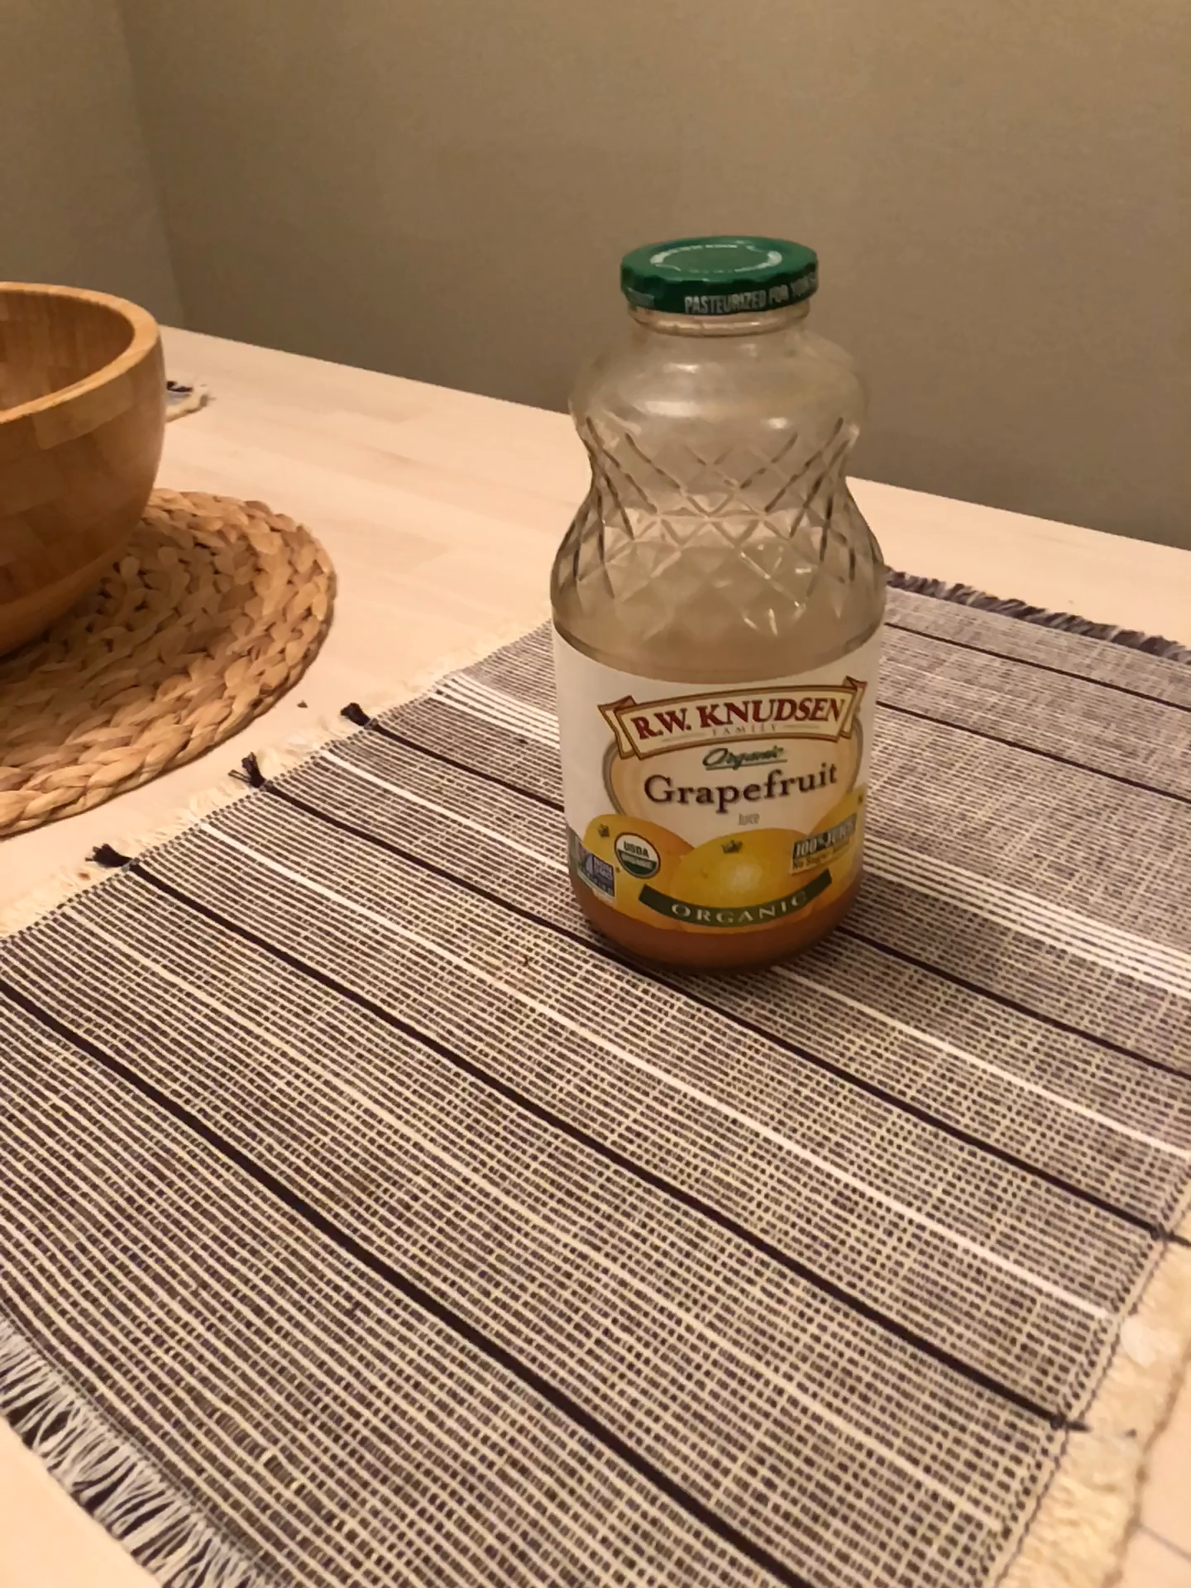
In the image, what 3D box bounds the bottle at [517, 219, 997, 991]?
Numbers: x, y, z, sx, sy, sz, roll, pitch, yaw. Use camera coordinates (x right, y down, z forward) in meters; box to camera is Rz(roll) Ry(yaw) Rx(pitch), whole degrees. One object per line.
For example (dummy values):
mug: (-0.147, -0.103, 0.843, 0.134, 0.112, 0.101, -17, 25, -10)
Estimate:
bottle: (0.038, -0.053, 0.382, 0.100, 0.189, 0.101, -2, 33, 1)
